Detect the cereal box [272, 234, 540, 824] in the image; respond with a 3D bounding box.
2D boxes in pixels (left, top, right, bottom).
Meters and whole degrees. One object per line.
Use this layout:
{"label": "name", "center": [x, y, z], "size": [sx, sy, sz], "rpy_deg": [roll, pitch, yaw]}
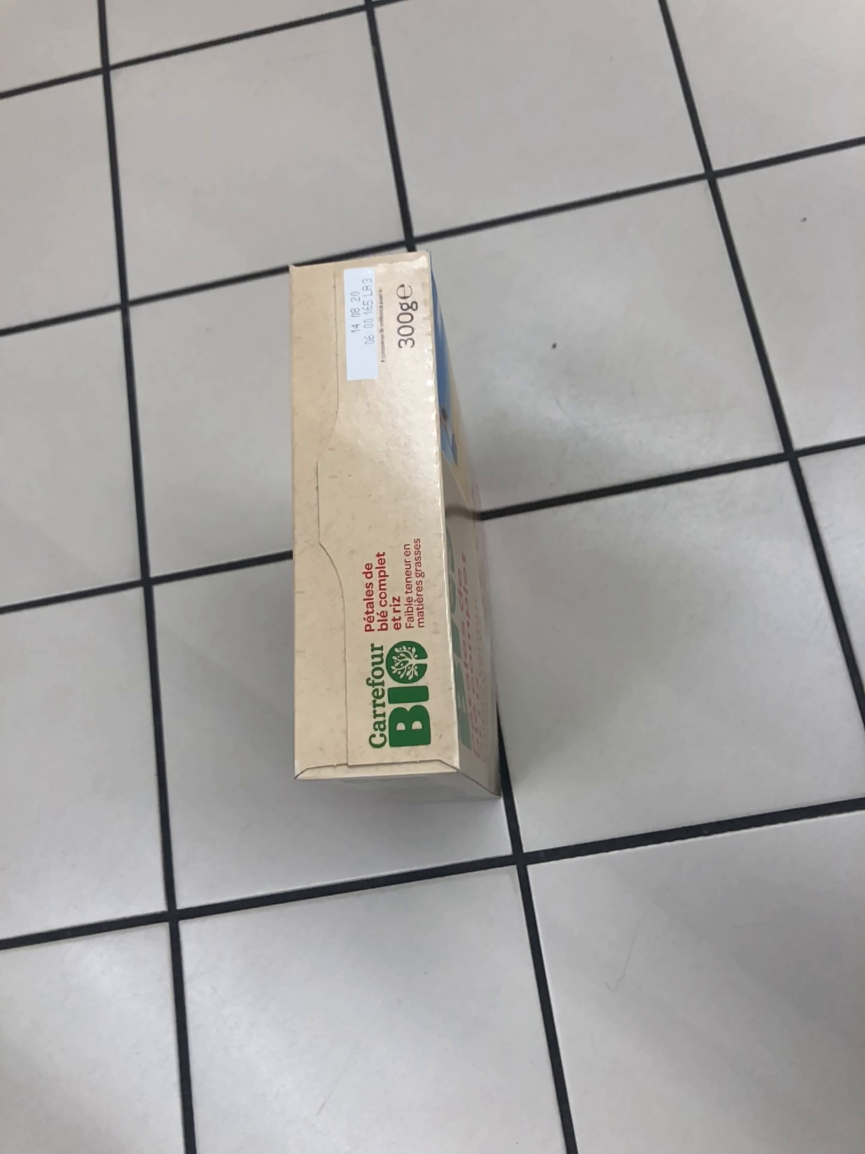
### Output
{"label": "cereal box", "center": [-0.001, 0.005, 0.453], "size": [0.080, 0.240, 0.210], "rpy_deg": [-5, 74, 7]}
